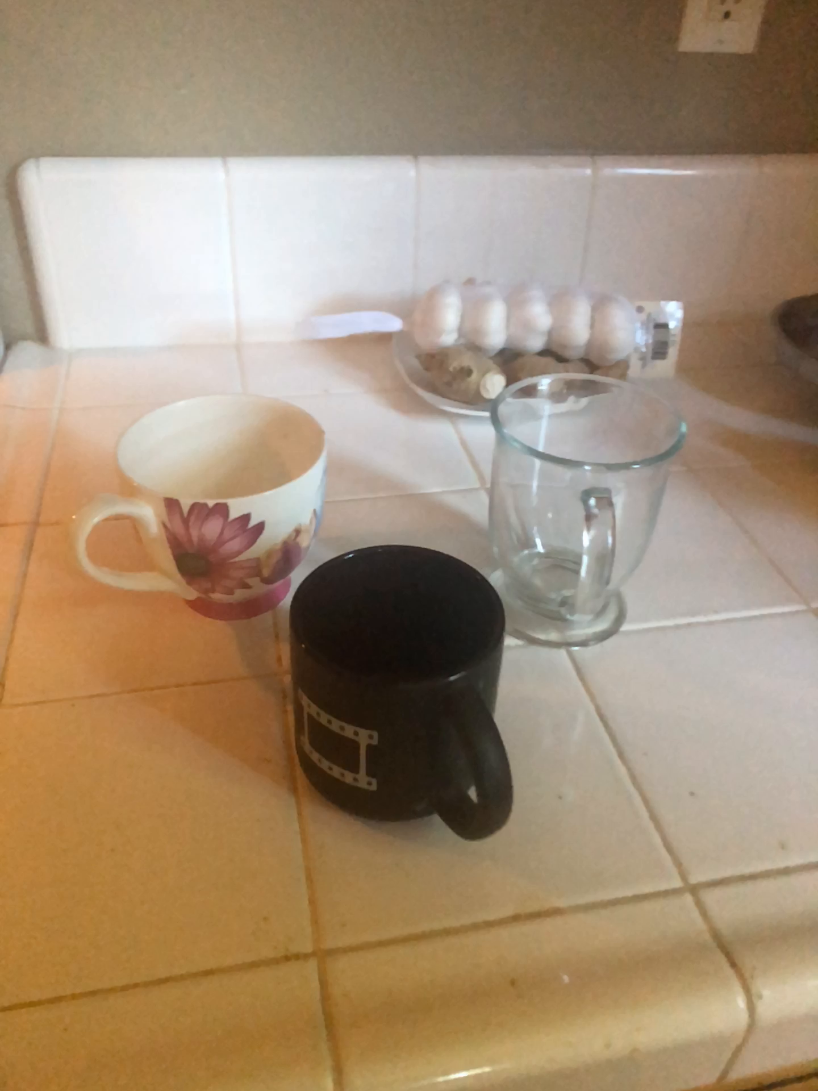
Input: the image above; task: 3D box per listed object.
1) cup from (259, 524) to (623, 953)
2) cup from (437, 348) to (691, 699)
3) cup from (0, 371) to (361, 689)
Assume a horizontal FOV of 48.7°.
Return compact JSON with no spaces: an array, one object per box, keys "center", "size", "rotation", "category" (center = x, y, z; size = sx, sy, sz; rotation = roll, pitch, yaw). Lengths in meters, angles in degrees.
[{"center":[0.004,0.073,0.385],"size":[0.100,0.089,0.131],"rotation":[-12,40,-19],"category":"cup"},{"center":[0.079,-0.015,0.467],"size":[0.100,0.119,0.121],"rotation":[10,38,8],"category":"cup"},{"center":[-0.115,-0.016,0.476],"size":[0.141,0.079,0.110],"rotation":[-26,46,-33],"category":"cup"}]
